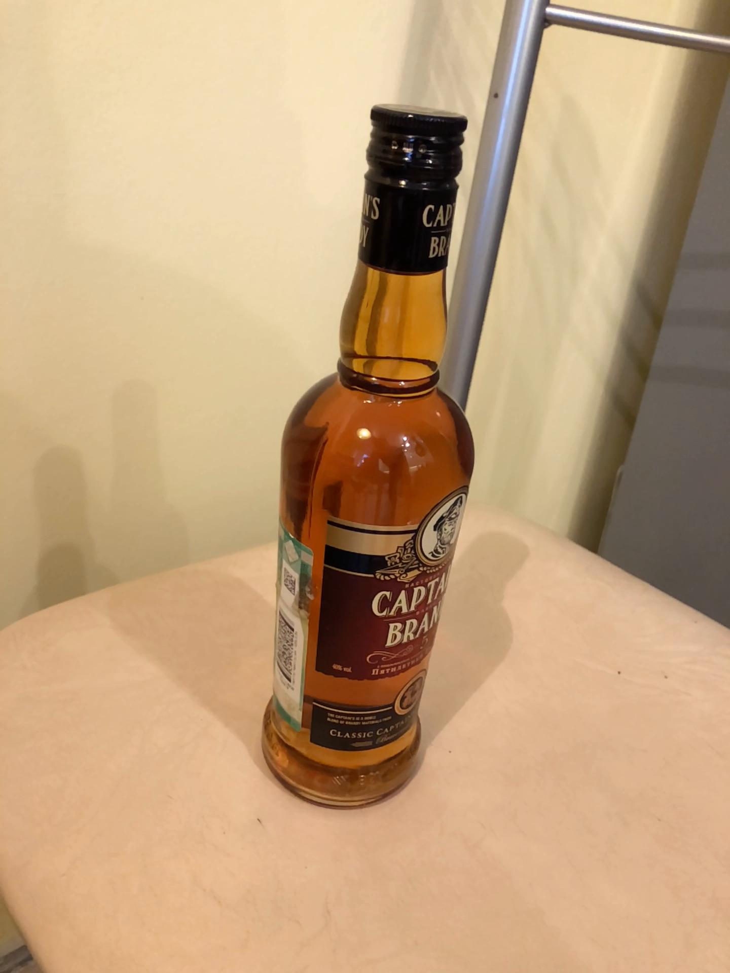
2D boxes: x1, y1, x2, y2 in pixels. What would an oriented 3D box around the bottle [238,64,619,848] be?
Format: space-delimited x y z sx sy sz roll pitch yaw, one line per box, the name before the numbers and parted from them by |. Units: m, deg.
bottle | 0.009 -0.001 0.286 0.070 0.258 0.080 27 37 32
